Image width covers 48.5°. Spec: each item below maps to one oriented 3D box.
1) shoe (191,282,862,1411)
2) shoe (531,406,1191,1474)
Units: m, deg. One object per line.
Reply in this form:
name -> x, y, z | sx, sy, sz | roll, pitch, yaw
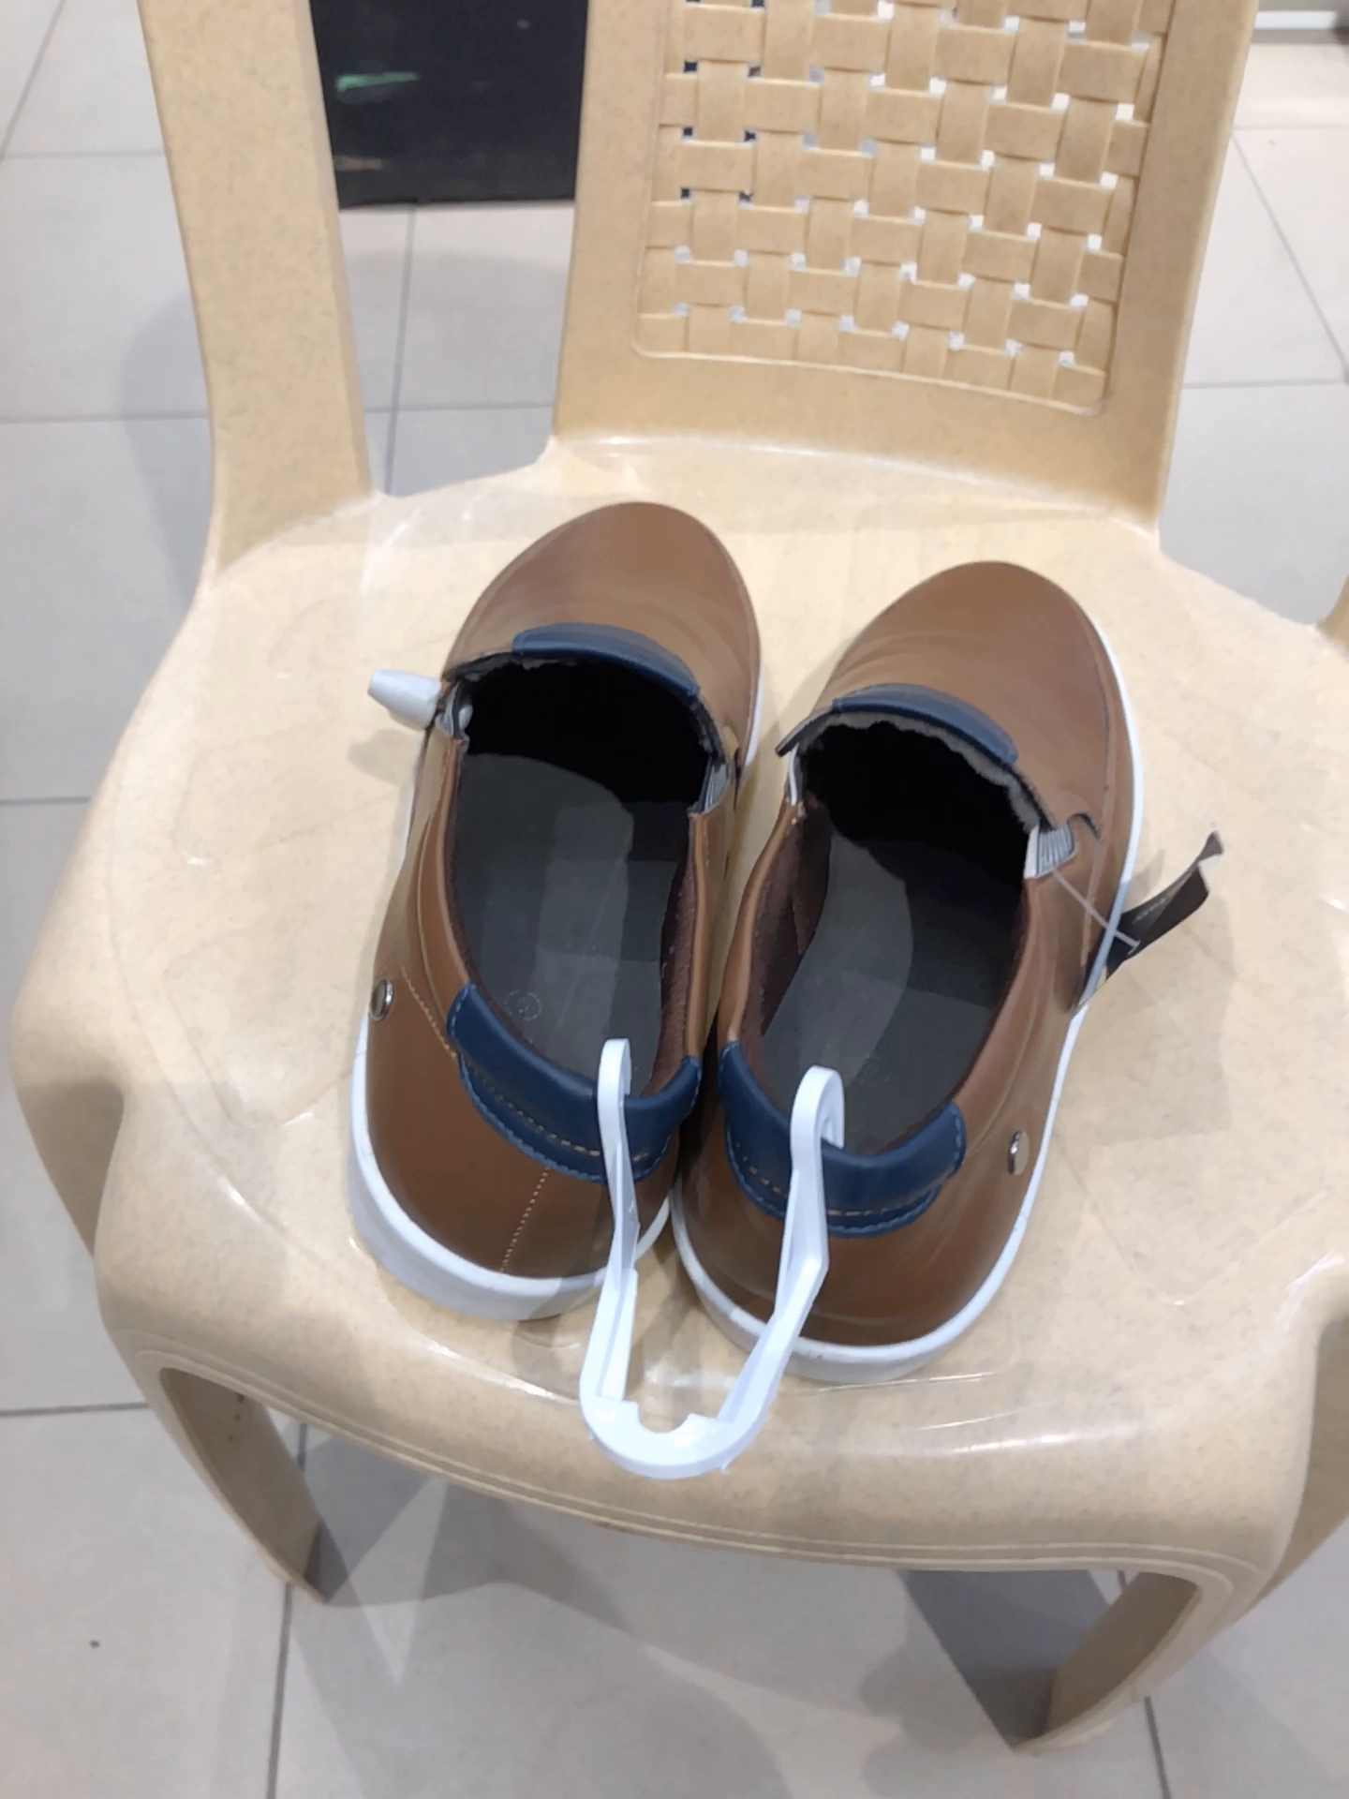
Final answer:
shoe -> -0.025, -0.027, 0.392 | 0.104, 0.099, 0.272 | 21, 50, -16
shoe -> 0.065, -0.010, 0.402 | 0.104, 0.099, 0.272 | 9, 52, 15
